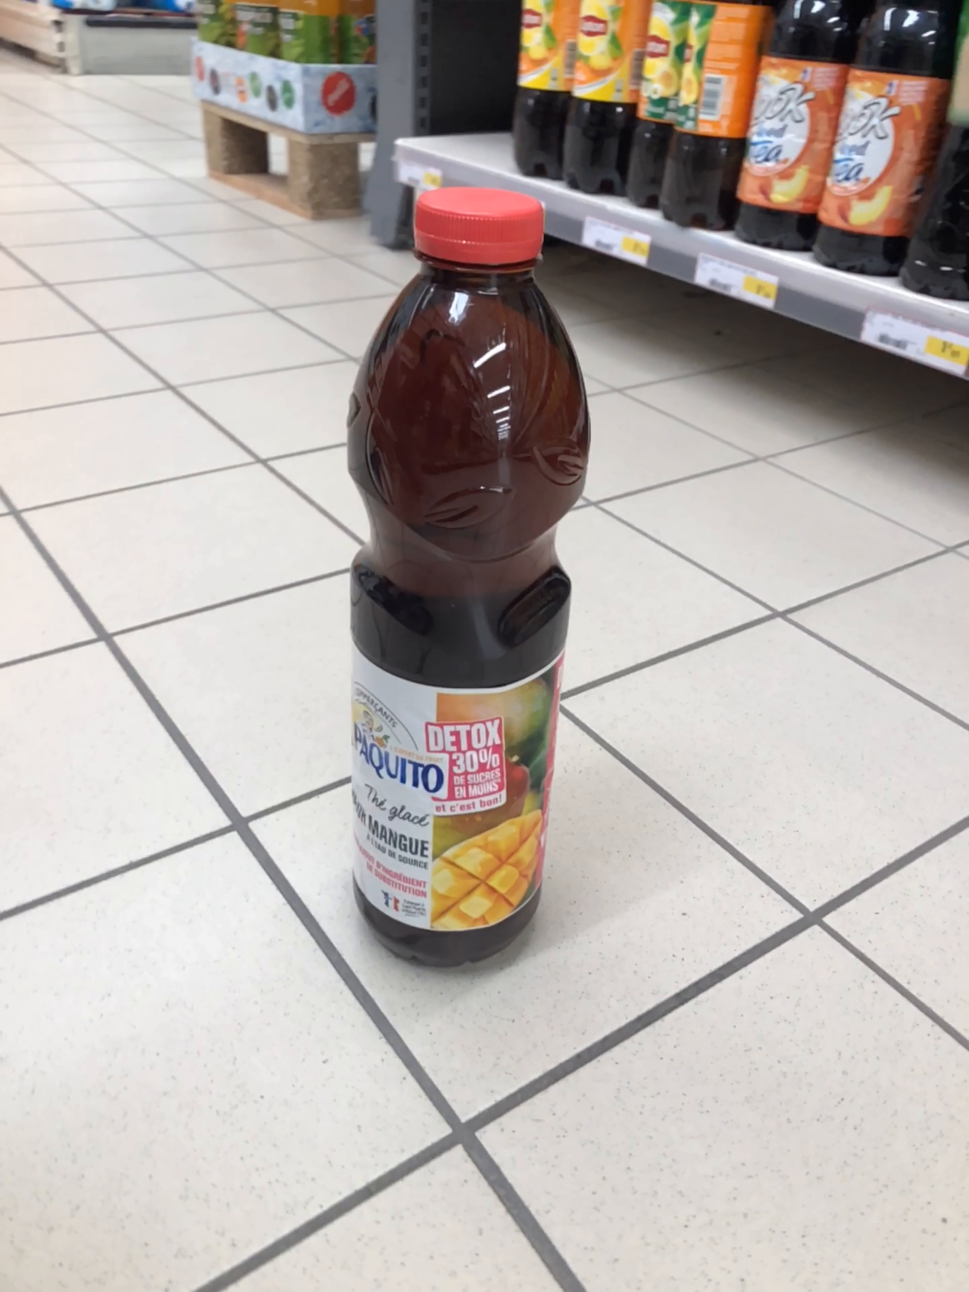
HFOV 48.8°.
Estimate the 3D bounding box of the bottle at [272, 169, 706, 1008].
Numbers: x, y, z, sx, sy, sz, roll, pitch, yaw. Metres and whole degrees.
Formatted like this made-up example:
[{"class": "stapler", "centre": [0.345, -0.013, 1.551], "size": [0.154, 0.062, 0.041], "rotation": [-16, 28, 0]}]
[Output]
[{"class": "bottle", "centre": [-0.006, -0.014, 0.406], "size": [0.100, 0.288, 0.091], "rotation": [25, 38, 31]}]
